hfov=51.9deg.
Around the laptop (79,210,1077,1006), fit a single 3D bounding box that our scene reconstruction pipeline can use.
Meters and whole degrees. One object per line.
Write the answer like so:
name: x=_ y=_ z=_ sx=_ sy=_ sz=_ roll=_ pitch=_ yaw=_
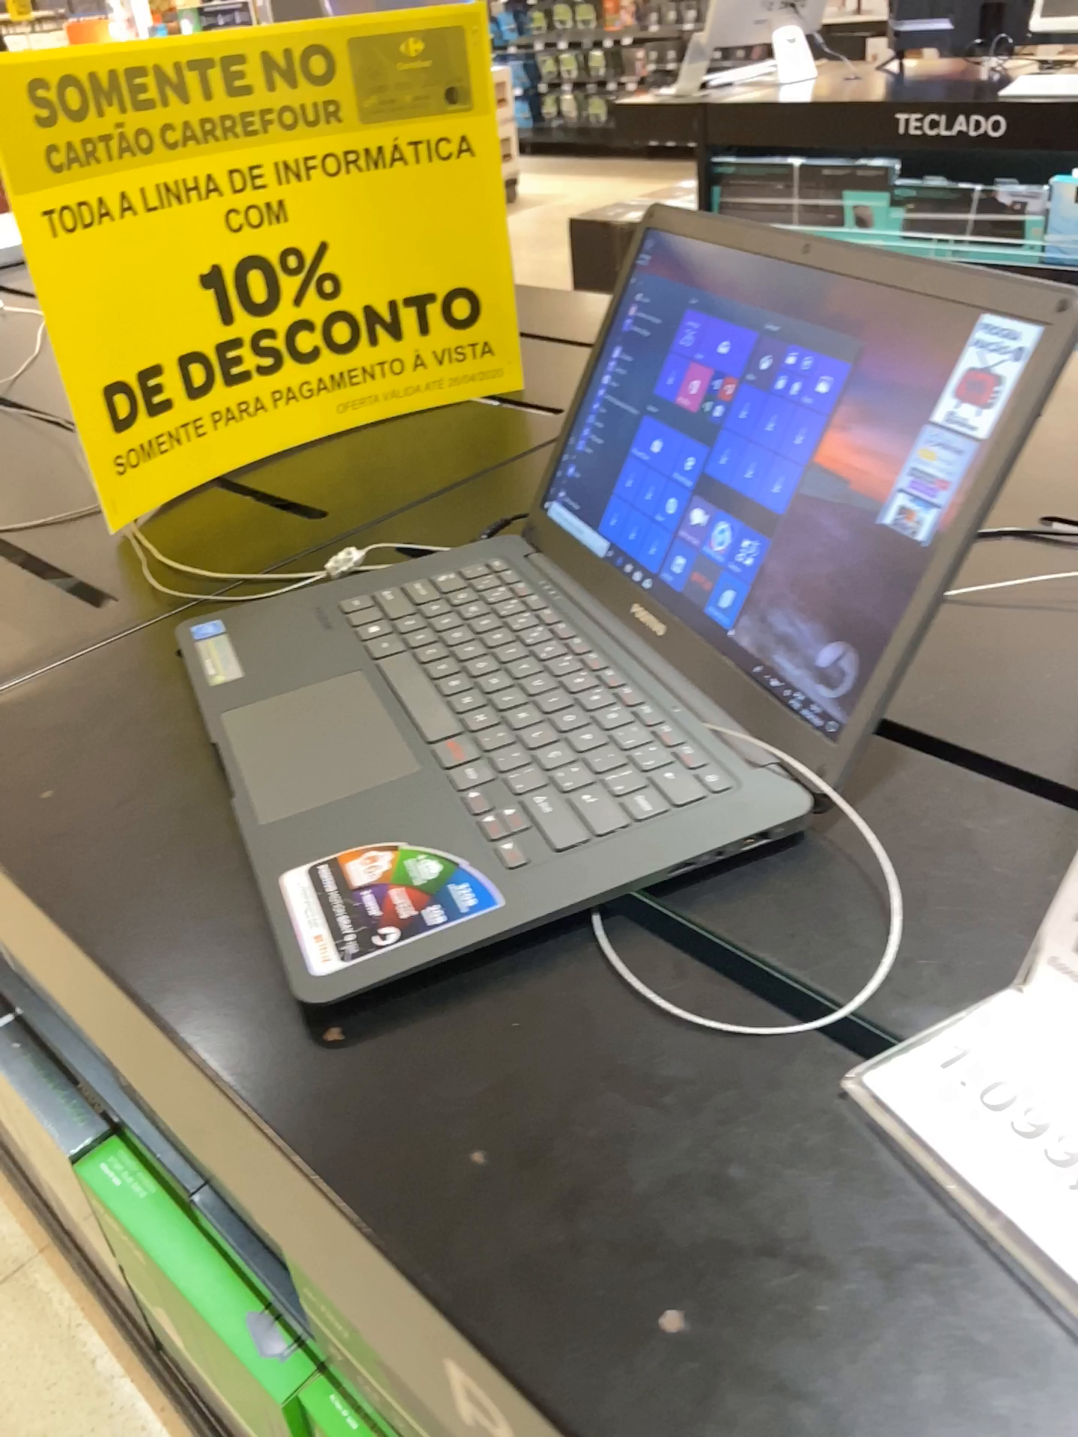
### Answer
laptop: x=-0.009 y=-0.088 z=0.464 sx=0.292 sy=0.159 sz=0.297 roll=-18 pitch=34 yaw=-16
